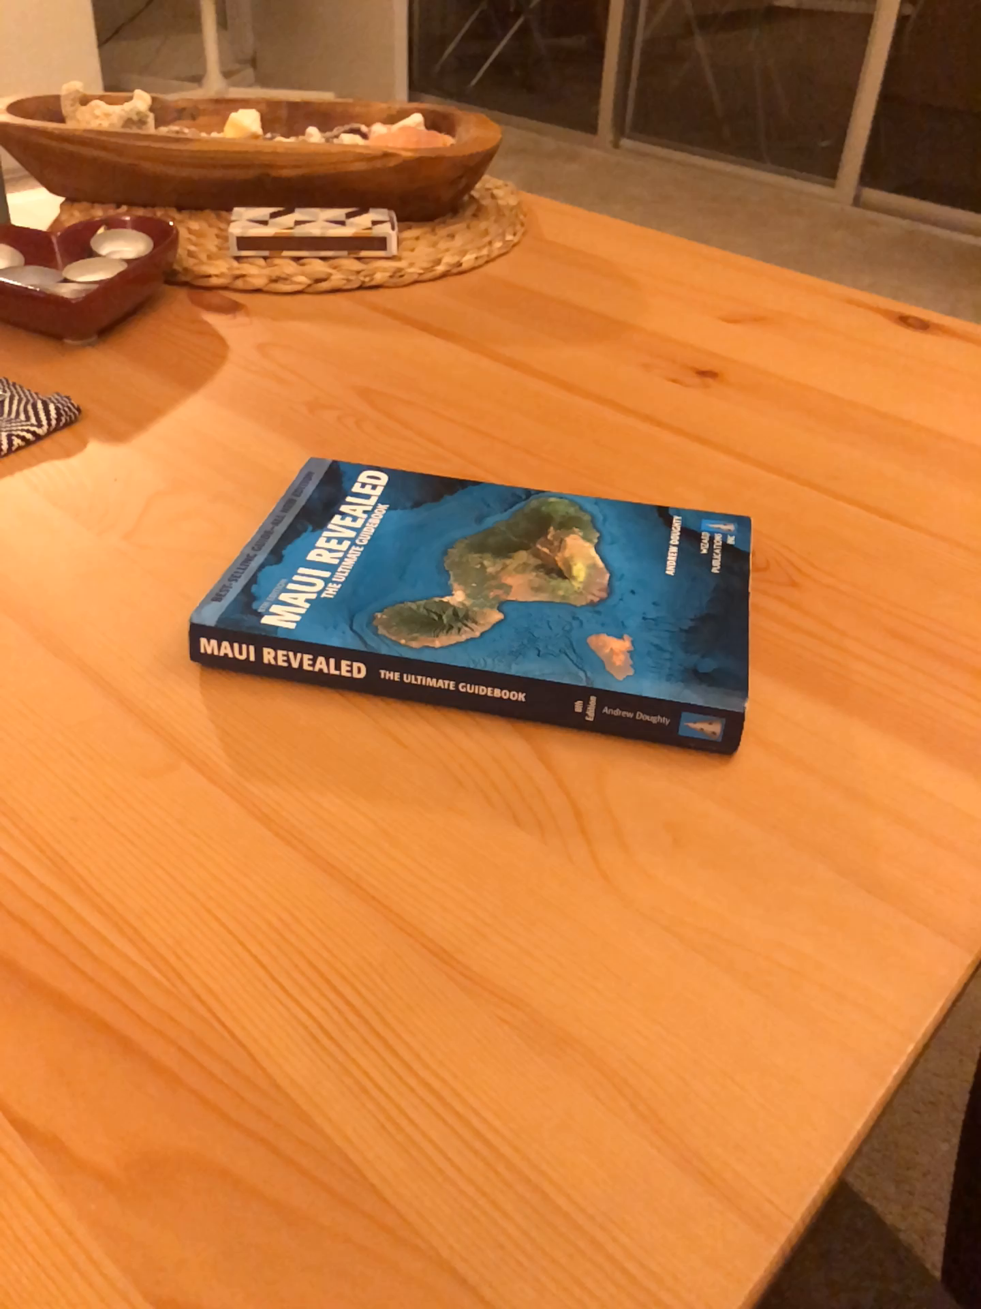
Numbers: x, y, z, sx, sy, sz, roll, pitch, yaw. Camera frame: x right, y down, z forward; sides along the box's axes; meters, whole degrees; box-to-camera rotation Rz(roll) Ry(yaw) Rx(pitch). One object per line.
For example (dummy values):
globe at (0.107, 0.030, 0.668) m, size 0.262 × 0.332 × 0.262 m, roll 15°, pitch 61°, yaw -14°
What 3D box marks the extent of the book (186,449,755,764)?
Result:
book at (0.003, -0.028, 0.437) m, size 0.200 × 0.020 × 0.147 m, roll 10°, pitch 36°, yaw 6°
